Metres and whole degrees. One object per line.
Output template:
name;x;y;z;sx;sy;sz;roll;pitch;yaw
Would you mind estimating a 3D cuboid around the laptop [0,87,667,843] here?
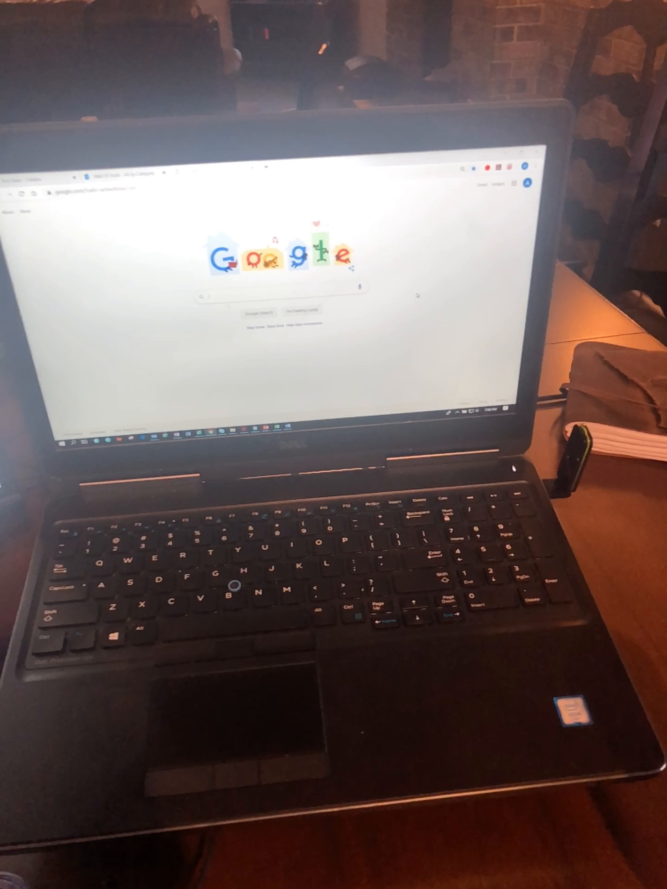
laptop;-0.024;-0.015;0.417;0.367;0.258;0.287;-4;37;-4
